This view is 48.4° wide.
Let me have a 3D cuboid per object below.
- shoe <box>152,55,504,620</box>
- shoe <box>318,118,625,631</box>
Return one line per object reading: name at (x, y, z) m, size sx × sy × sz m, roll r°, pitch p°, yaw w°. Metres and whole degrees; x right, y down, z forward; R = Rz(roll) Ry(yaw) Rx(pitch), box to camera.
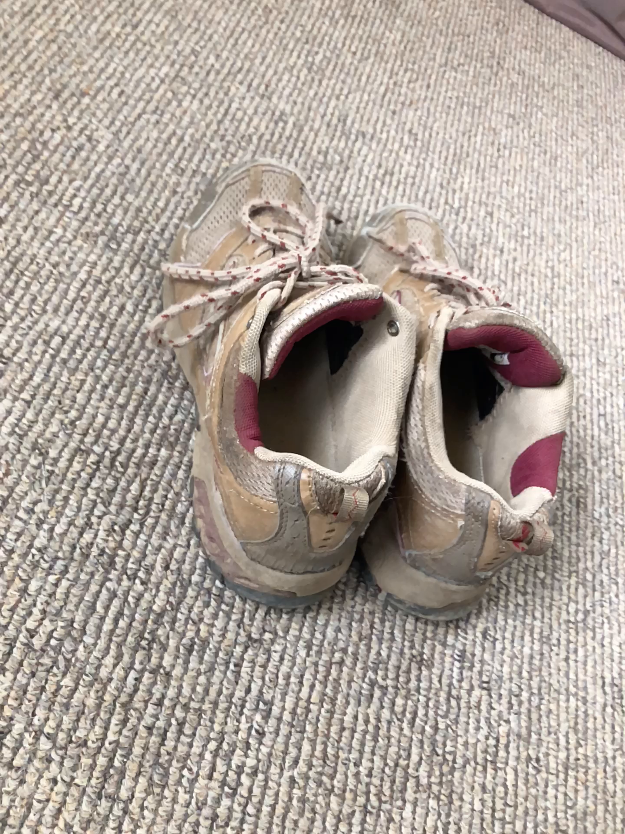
shoe at (-0.013, -0.044, 0.381) m, size 0.111 × 0.118 × 0.271 m, roll 4°, pitch 60°, yaw -25°
shoe at (0.084, -0.026, 0.423) m, size 0.112 × 0.123 × 0.272 m, roll 11°, pitch 57°, yaw -21°
